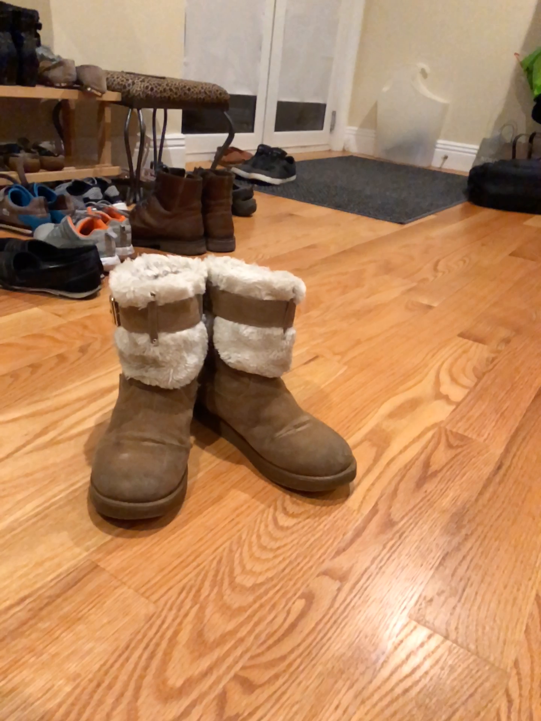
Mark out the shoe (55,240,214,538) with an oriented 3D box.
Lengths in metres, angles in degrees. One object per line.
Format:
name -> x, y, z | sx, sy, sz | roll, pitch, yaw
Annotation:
shoe -> -0.121, 0.011, 0.594 | 0.106, 0.193, 0.255 | 4, 25, -5

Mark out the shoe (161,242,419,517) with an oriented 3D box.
shoe -> 0.003, 0.003, 0.646 | 0.113, 0.193, 0.255 | -17, 34, -41
